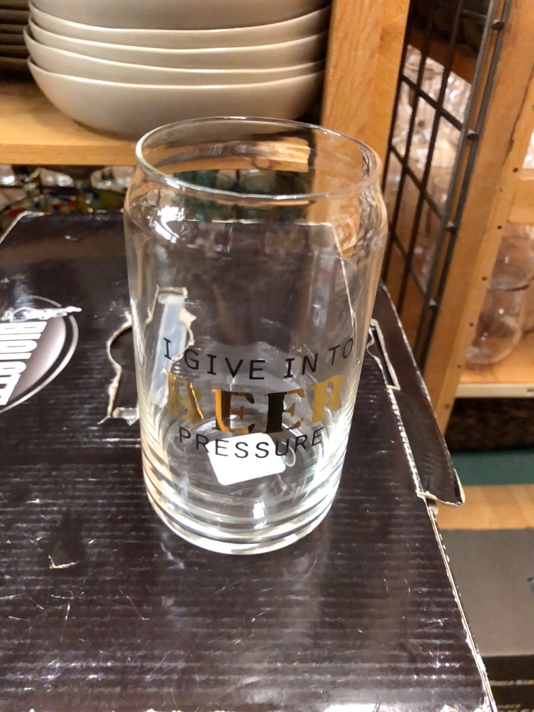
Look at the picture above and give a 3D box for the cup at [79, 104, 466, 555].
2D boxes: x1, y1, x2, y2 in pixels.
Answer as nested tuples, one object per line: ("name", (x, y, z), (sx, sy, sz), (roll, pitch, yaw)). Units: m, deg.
("cup", (-0.002, -0.009, 0.194), (0.081, 0.116, 0.088), (2, 35, -1))
